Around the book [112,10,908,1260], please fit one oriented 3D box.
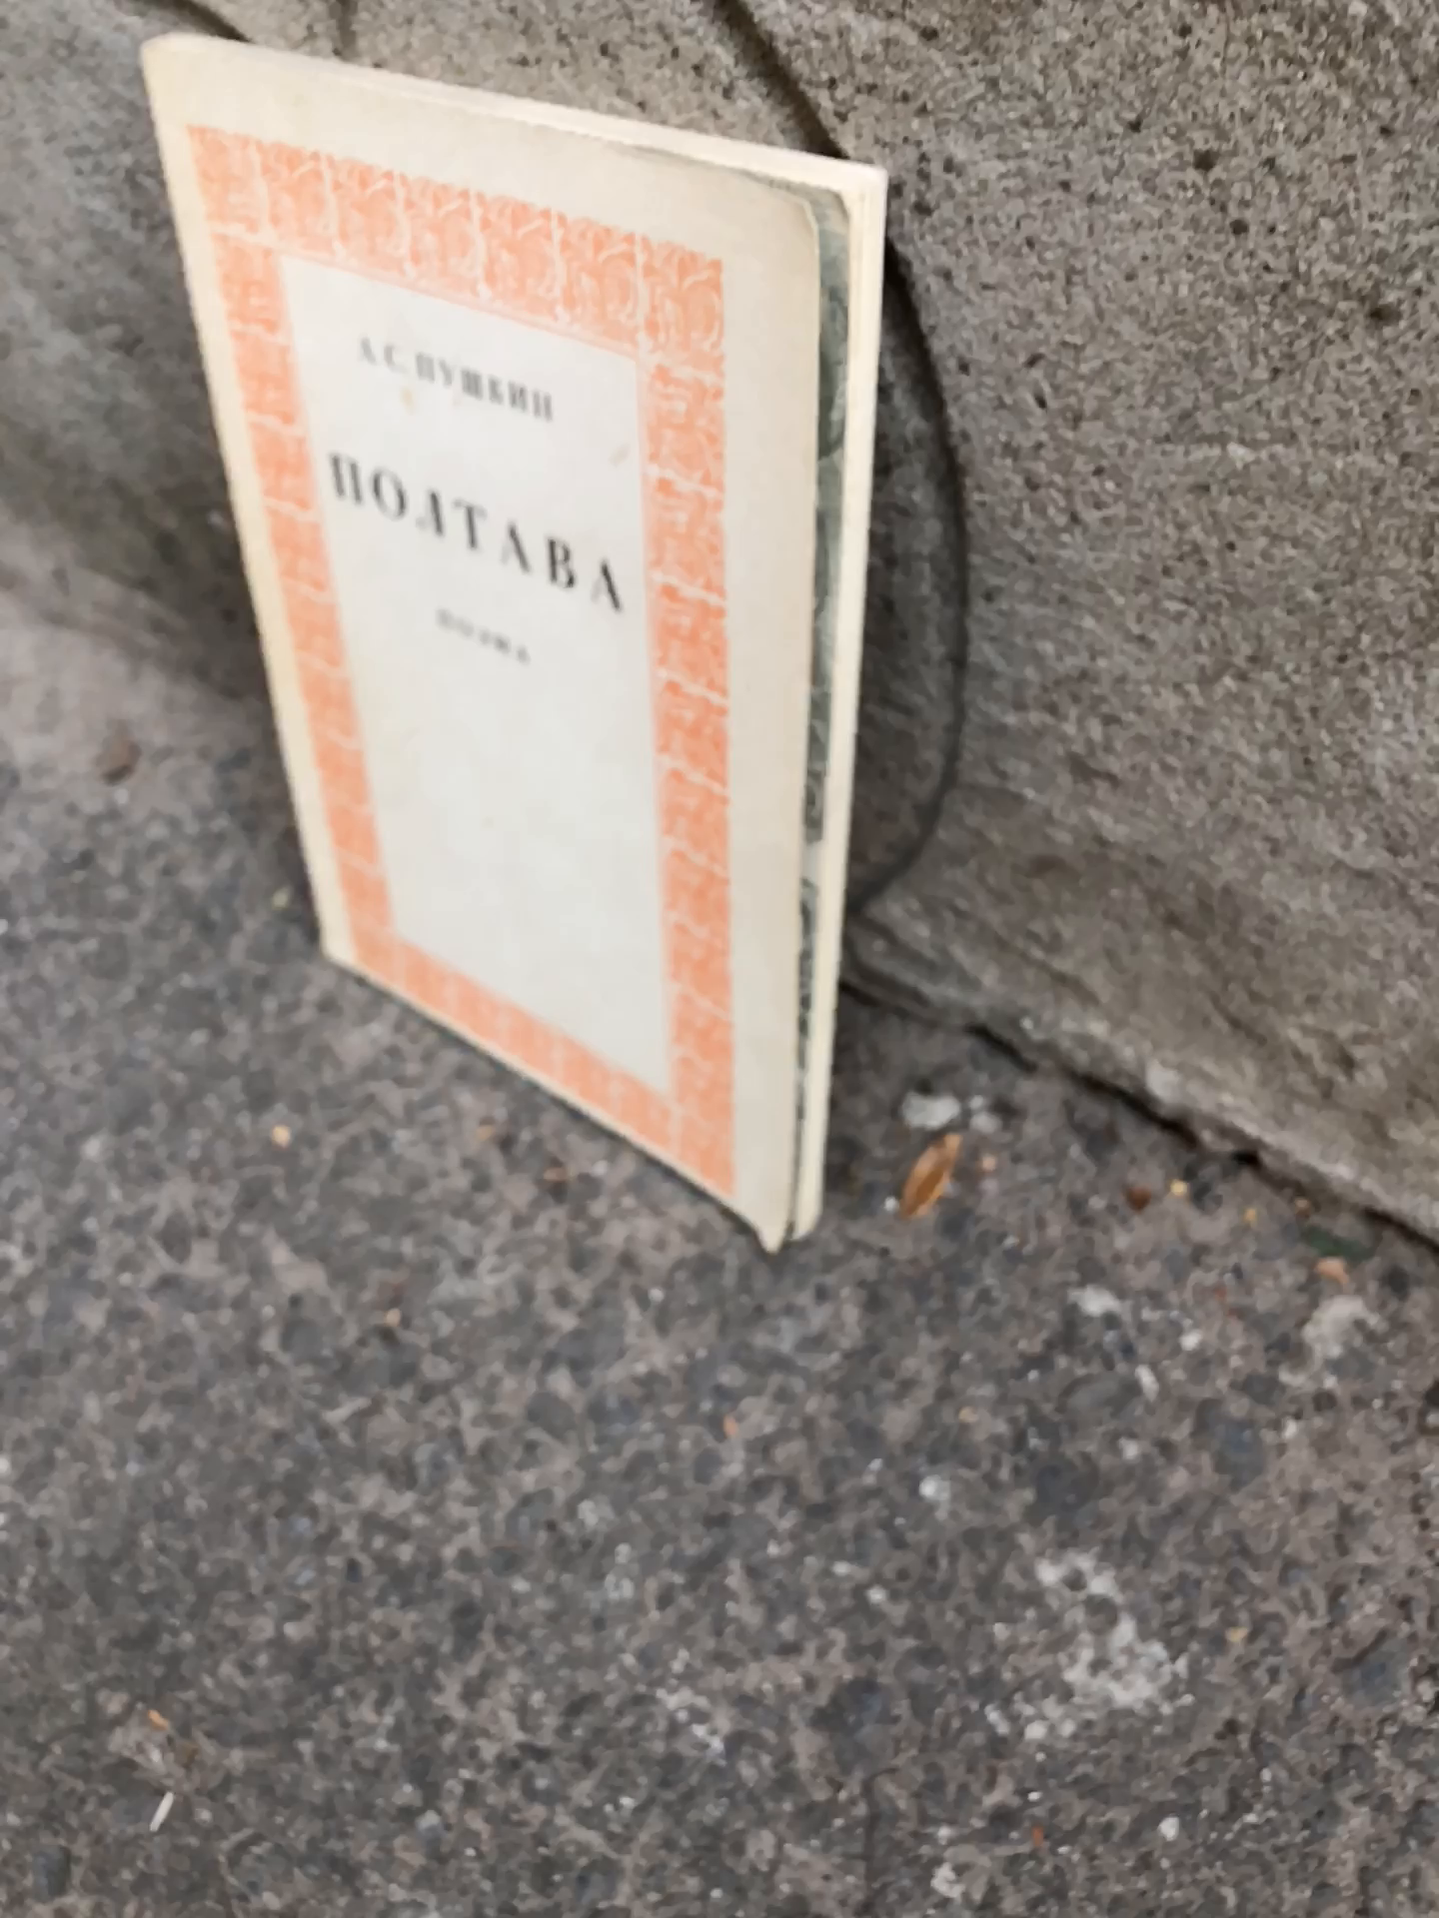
[{"bbox_3d":[-0.038,-0.053,0.304,0.150,0.199,0.020,29,49,31],"label":"book"}]
